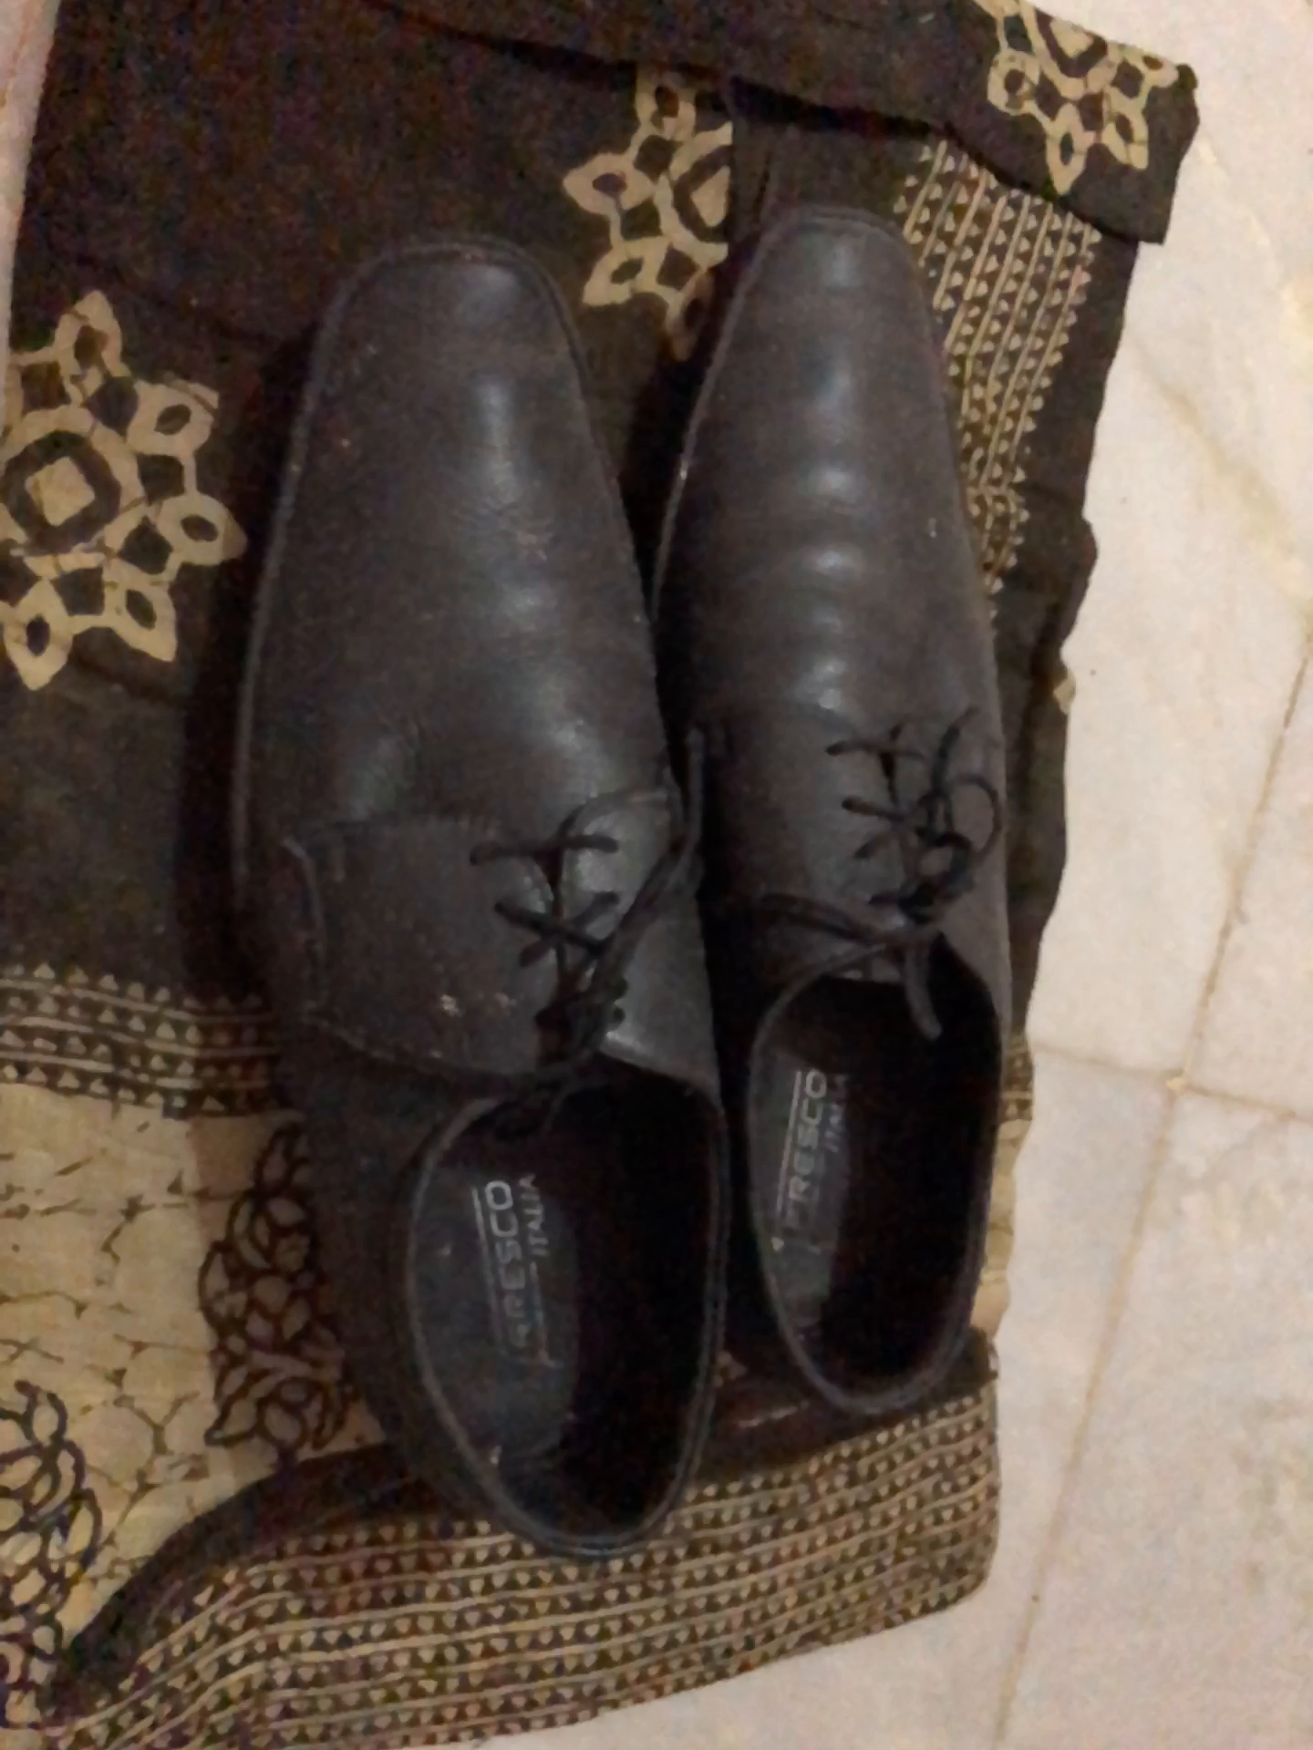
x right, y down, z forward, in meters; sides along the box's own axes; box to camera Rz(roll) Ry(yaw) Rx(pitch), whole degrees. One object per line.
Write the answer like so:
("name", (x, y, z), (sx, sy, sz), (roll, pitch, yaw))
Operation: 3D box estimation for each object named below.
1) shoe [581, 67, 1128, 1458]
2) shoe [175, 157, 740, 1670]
("shoe", (0.051, -0.023, 0.411), (0.110, 0.070, 0.340), (0, 97, -23))
("shoe", (-0.049, 0.012, 0.376), (0.110, 0.070, 0.340), (-6, 99, -22))
